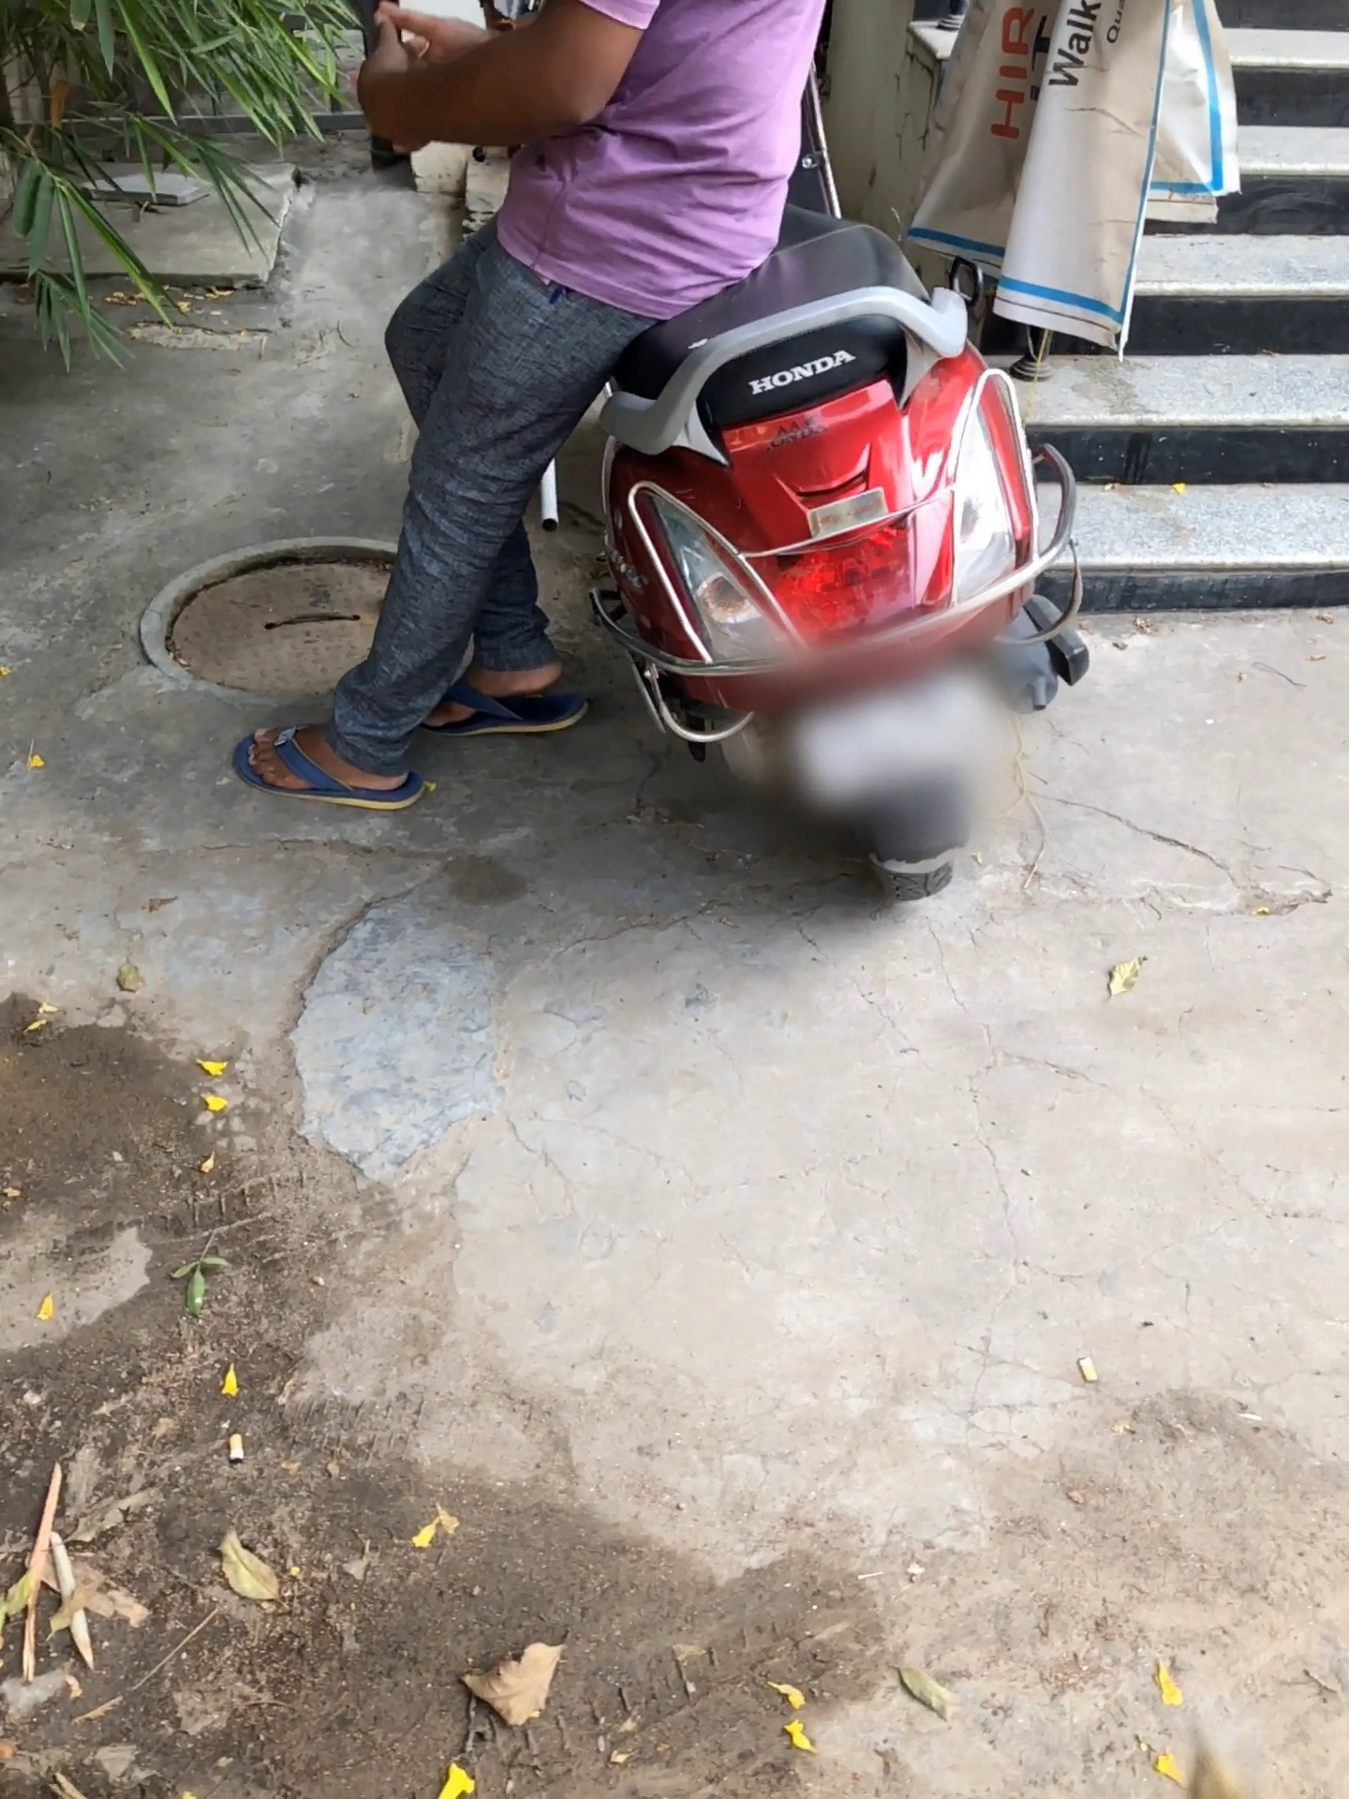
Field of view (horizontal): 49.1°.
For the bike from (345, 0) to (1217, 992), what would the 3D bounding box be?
[{"bbox_3d":[-0.033,-0.841,1.940,0.572,1.056,1.486,-7,42,-11],"label":"bike"}]
